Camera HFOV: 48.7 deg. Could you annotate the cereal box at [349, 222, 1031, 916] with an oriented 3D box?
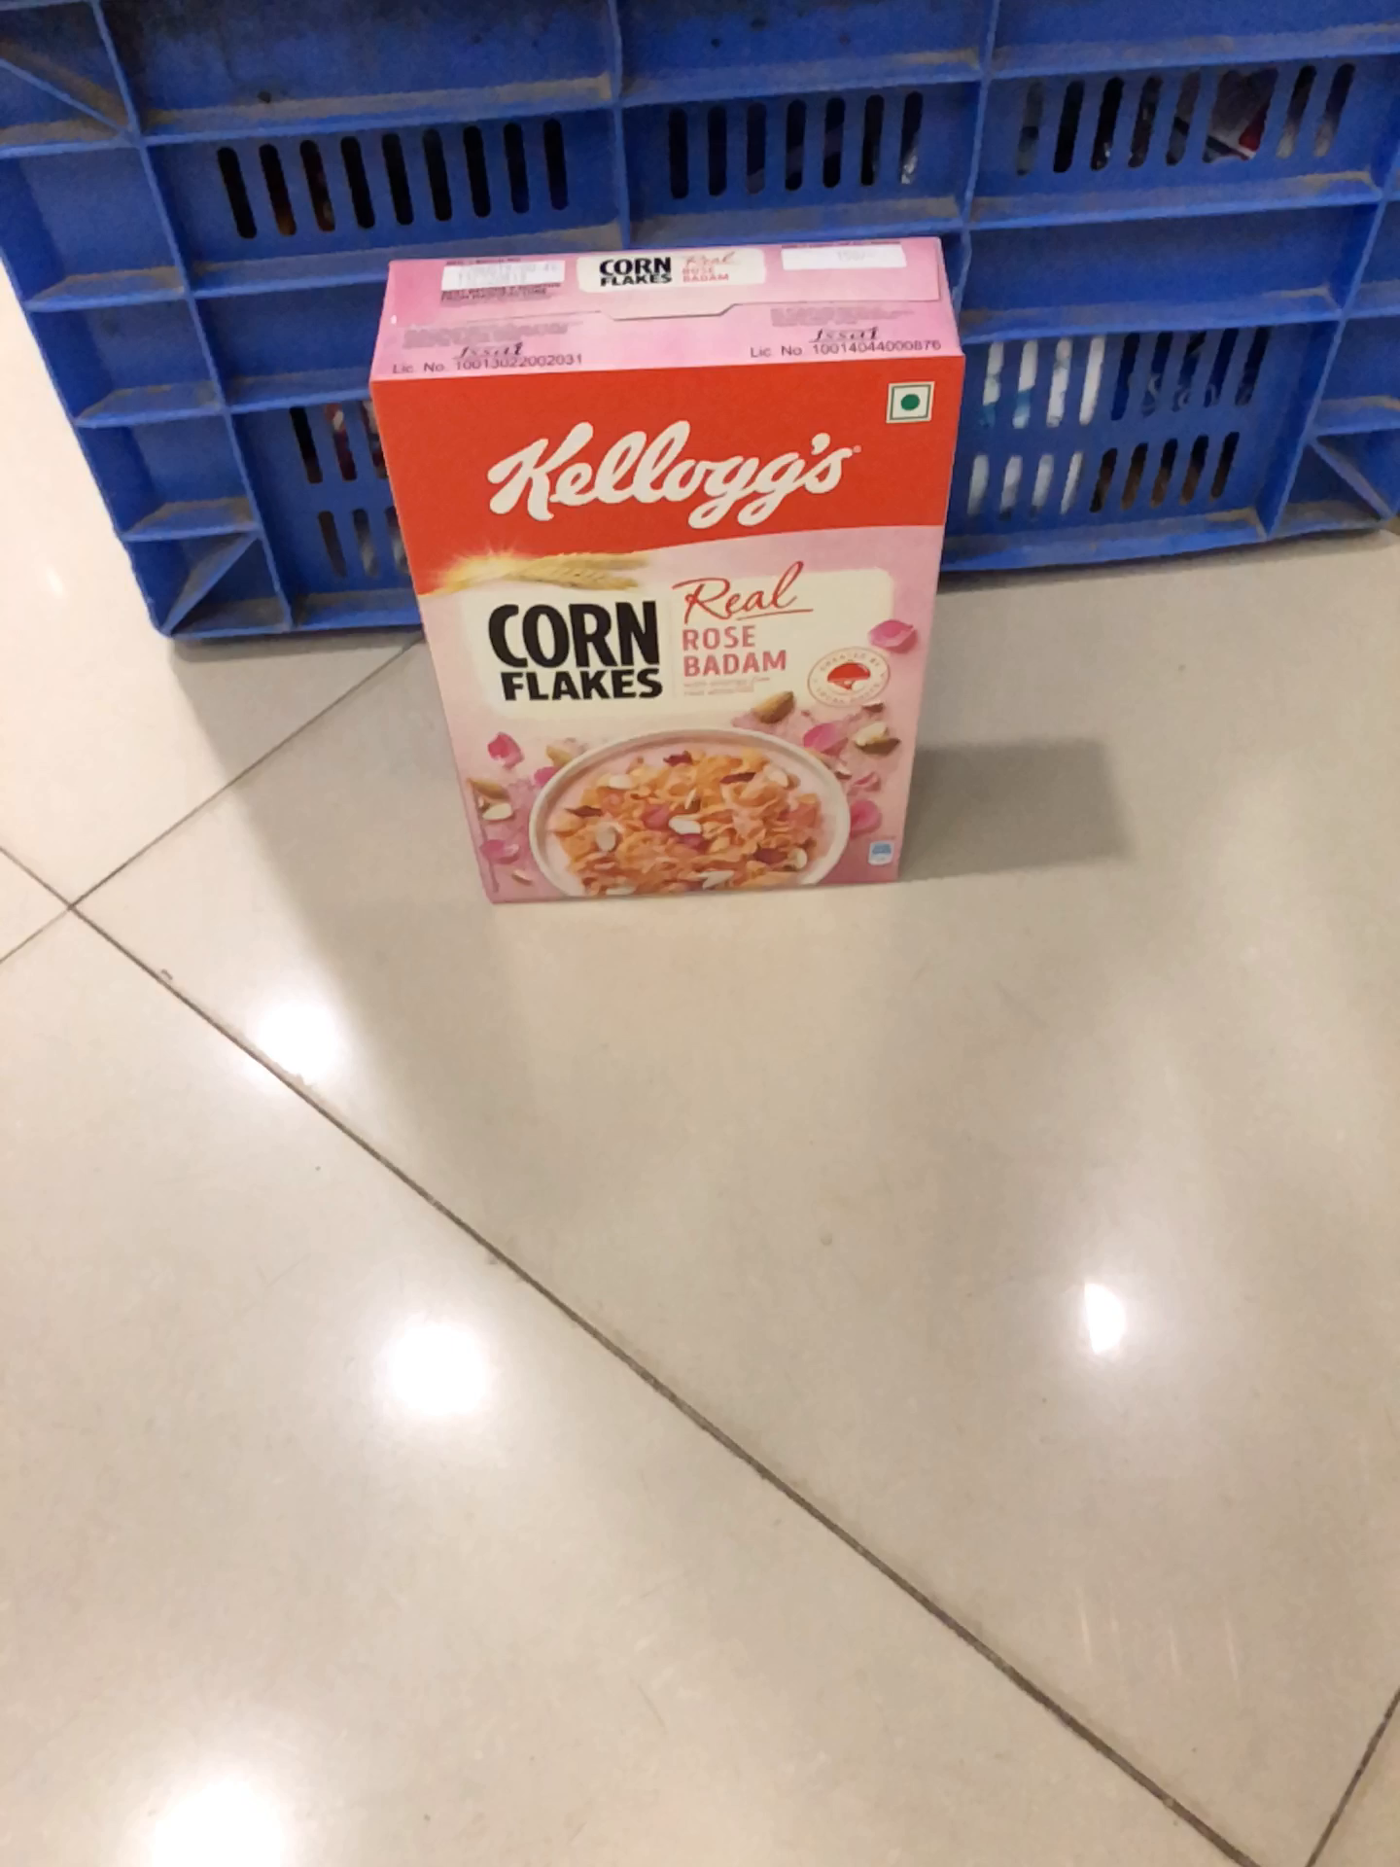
[{"bbox_3d":[-0.001,-0.118,0.578,0.200,0.258,0.070,-4,54,-1],"label":"cereal box"}]
